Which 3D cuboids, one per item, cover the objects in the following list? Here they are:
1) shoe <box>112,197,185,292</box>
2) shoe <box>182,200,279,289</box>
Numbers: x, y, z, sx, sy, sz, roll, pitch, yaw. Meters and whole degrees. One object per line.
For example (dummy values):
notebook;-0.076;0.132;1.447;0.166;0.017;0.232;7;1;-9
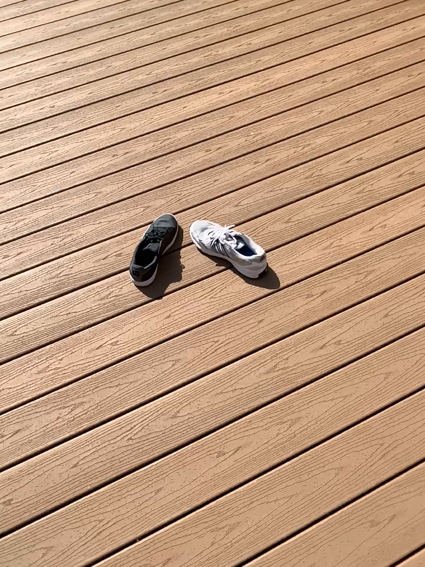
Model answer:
shoe;-0.186;-0.121;1.310;0.110;0.100;0.260;16;61;12
shoe;0.052;-0.121;1.314;0.271;0.120;0.110;32;66;21
